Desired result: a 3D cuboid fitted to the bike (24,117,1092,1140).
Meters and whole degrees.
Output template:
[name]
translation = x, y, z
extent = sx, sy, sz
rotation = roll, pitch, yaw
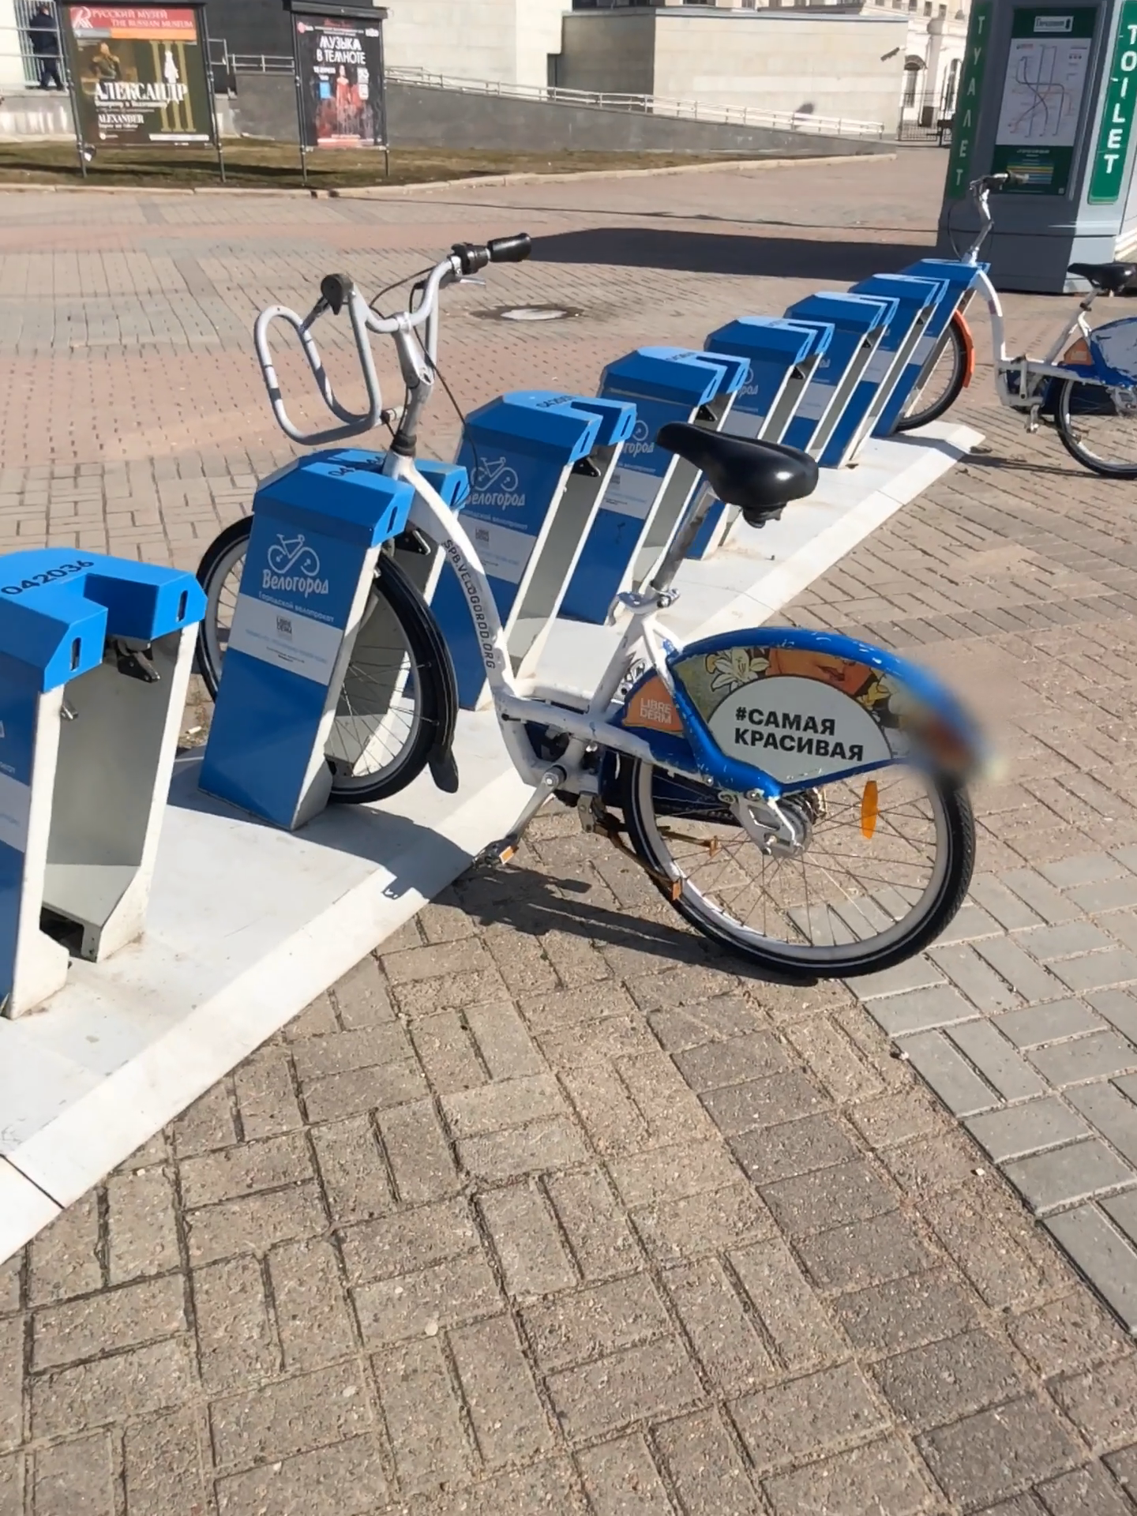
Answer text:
[bike]
translation = -0.048, -0.339, 2.205
extent = 1.628, 1.204, 0.598
rotation = 19, 31, 23
